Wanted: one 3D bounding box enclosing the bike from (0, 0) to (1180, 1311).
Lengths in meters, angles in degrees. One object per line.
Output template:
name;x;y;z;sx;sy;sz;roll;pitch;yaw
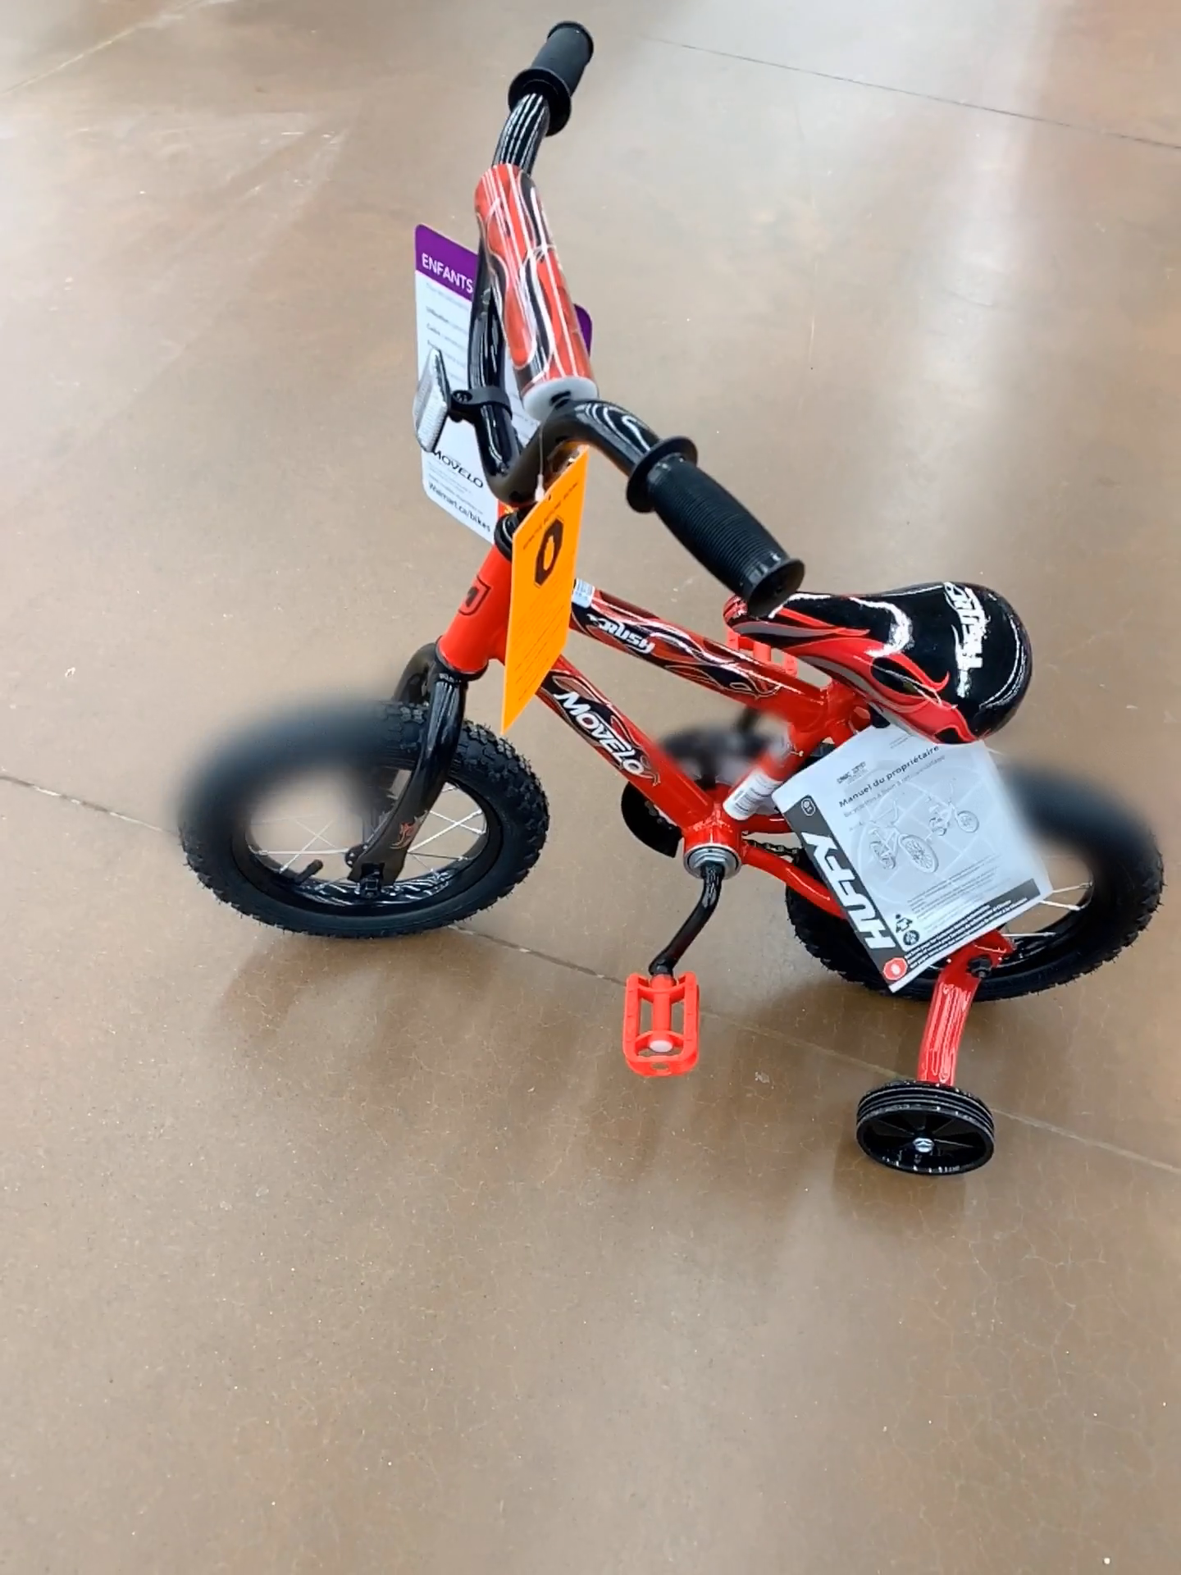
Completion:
bike;0.089;-0.054;0.713;0.703;0.626;0.459;6;47;-7
